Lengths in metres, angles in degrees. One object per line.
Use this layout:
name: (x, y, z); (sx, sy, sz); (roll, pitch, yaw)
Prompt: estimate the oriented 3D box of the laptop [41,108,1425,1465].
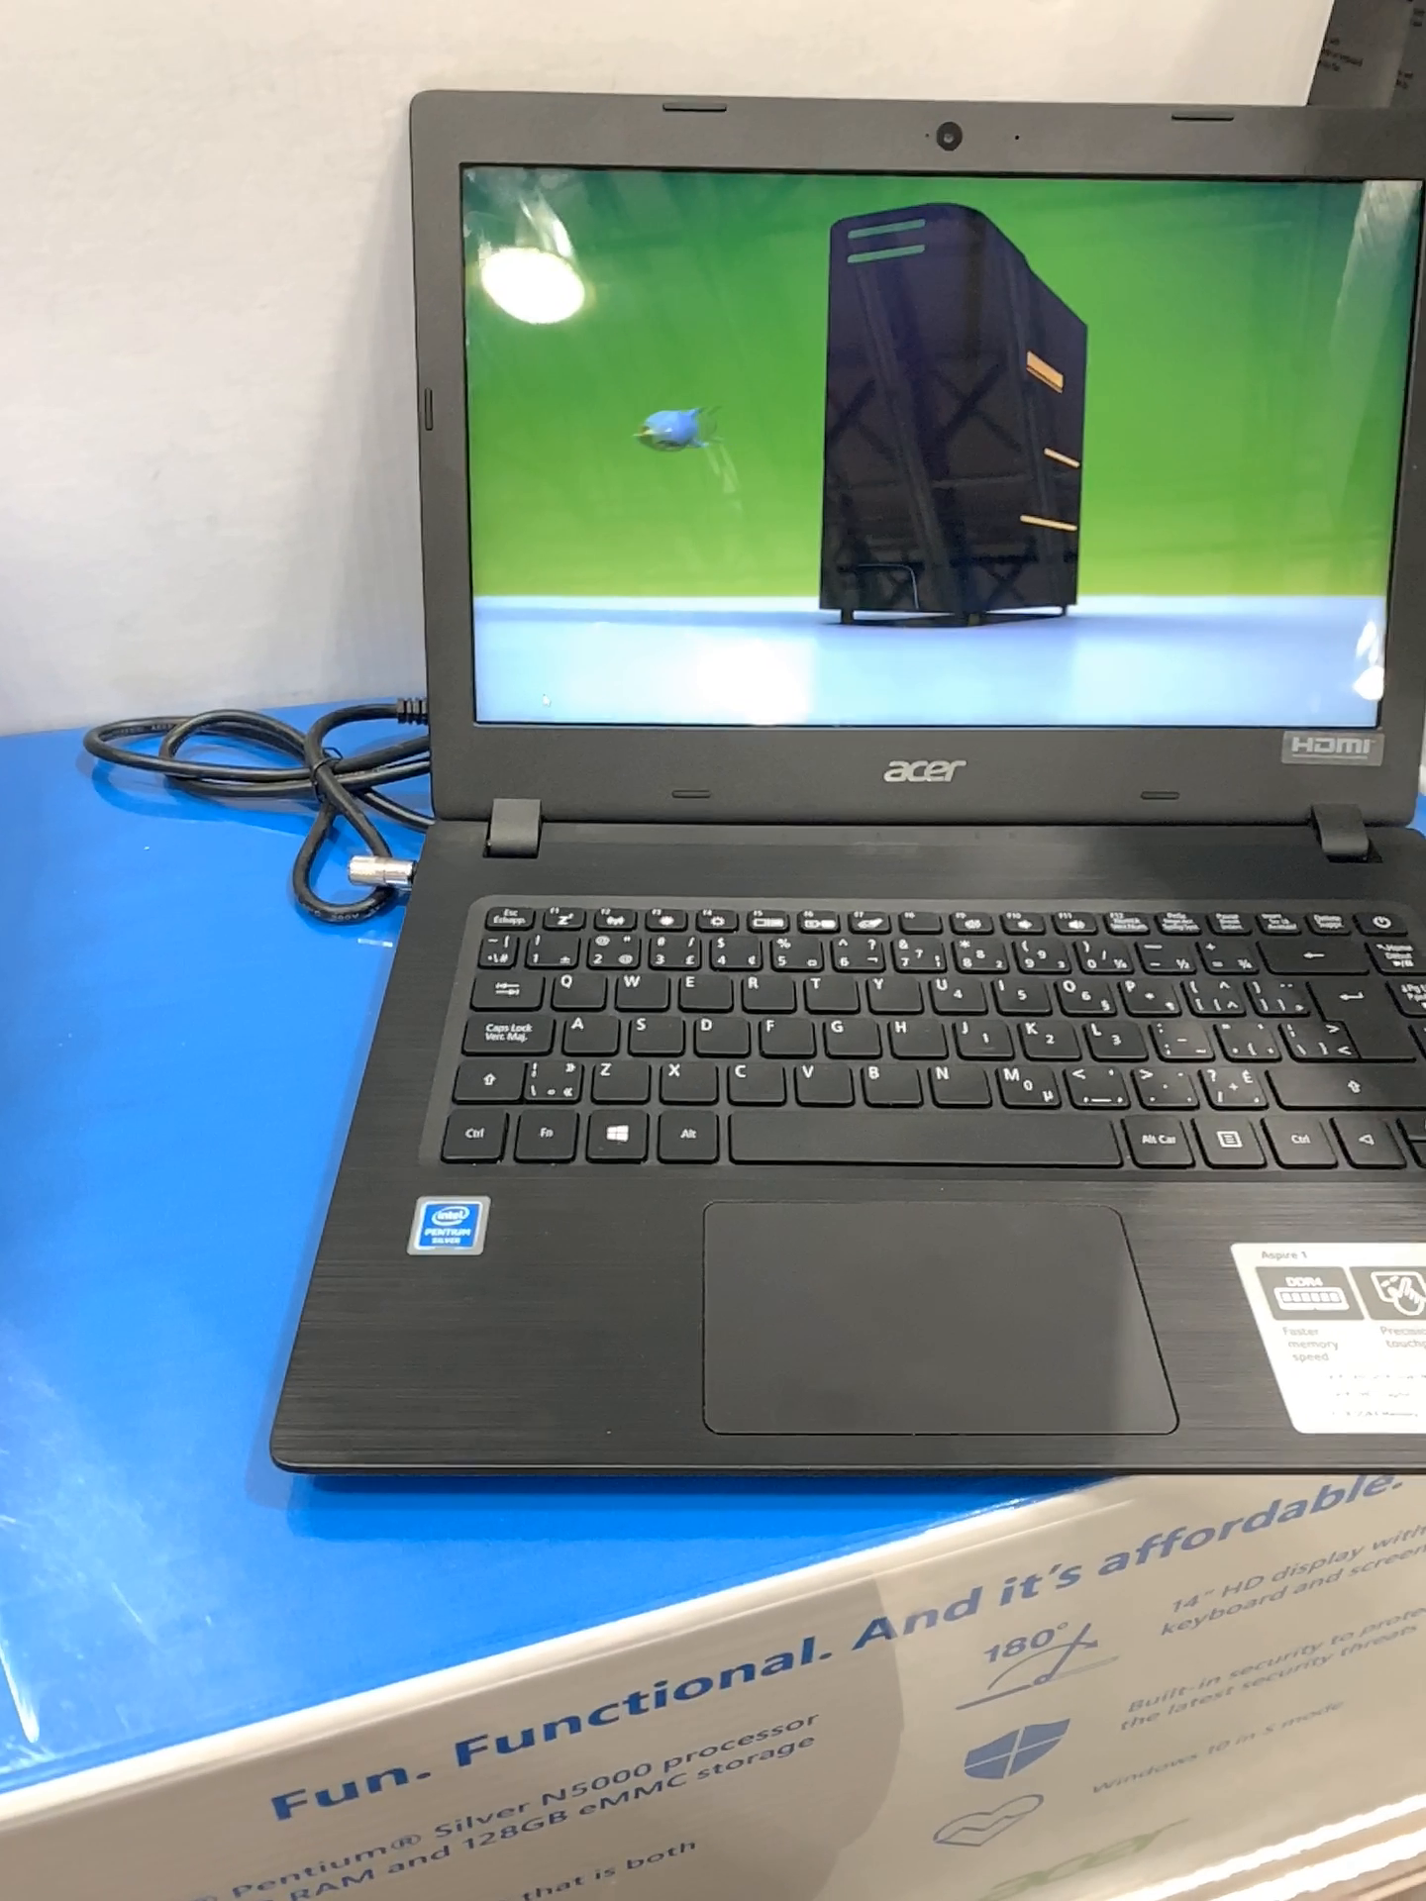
laptop: (0.073, -0.071, 0.367); (0.318, 0.186, 0.329); (1, 39, -1)
